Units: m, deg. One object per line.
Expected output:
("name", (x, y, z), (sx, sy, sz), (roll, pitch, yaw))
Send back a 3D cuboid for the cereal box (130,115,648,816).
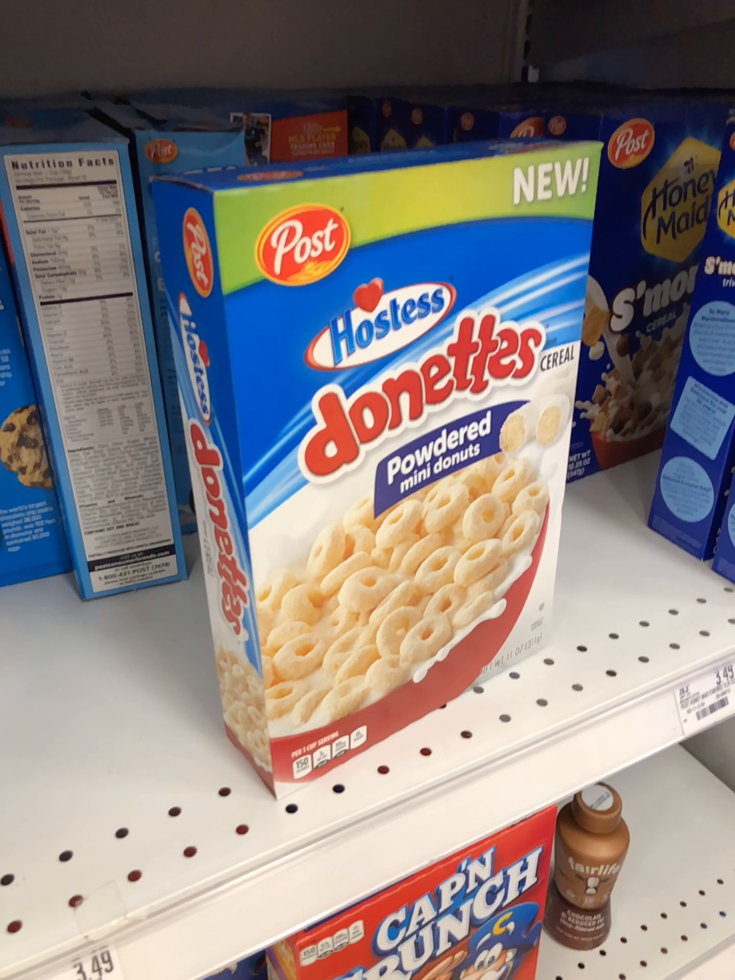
("cereal box", (0.019, -0.015, 0.354), (0.190, 0.259, 0.060), (-20, 34, -31))
